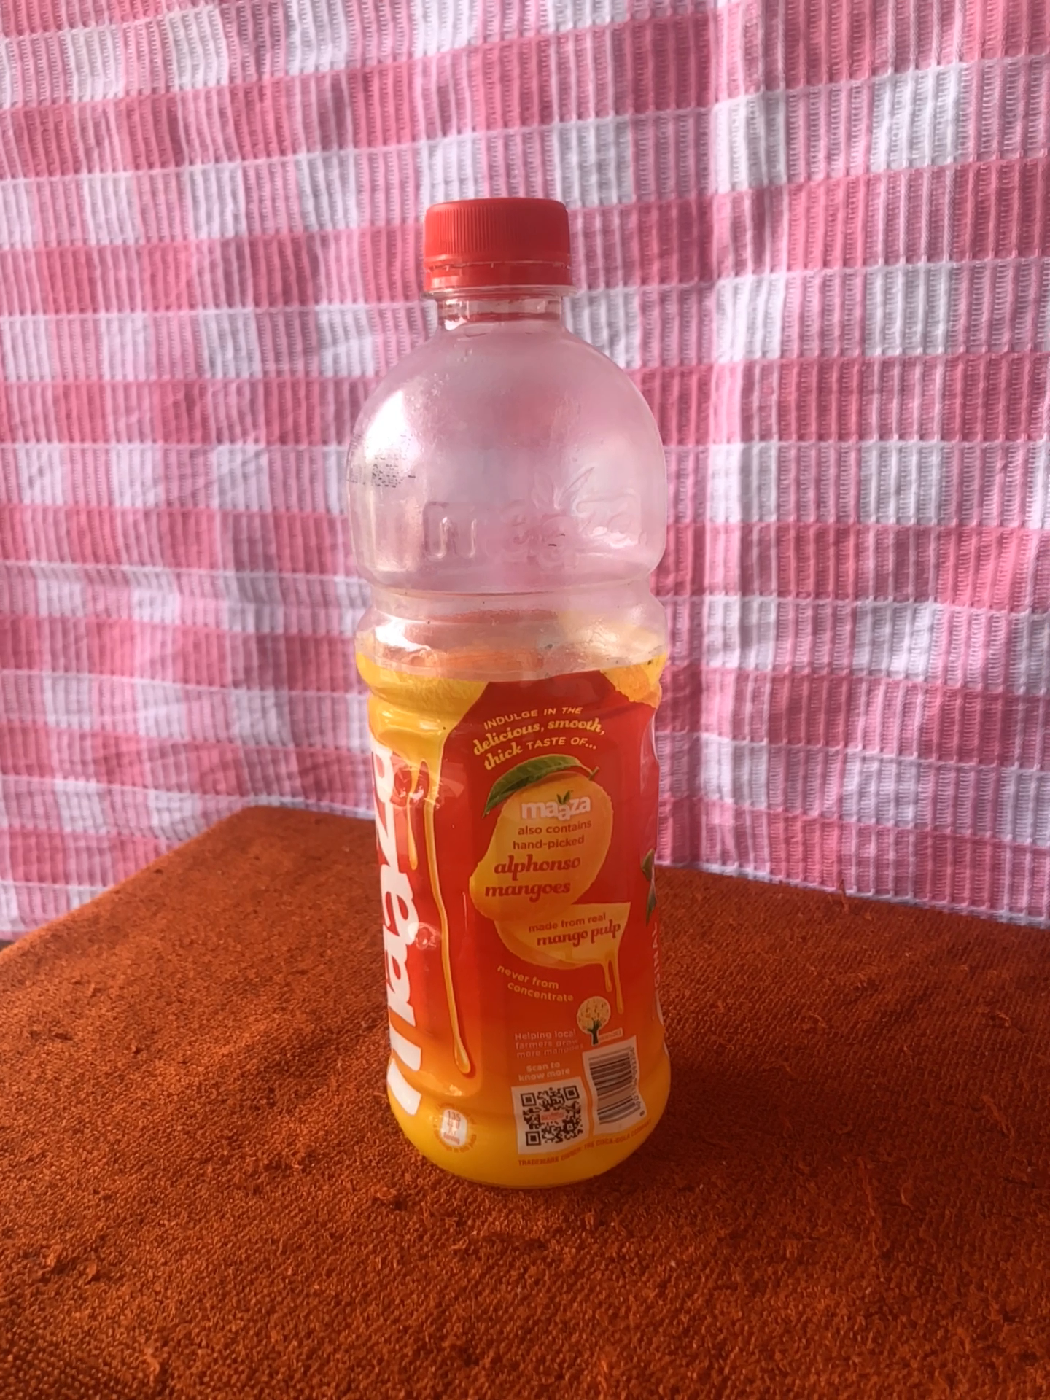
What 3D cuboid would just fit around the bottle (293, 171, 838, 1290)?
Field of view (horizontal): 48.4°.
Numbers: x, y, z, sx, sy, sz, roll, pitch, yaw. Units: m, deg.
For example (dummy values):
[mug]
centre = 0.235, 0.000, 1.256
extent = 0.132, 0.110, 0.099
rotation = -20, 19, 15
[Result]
[bottle]
centre = 0.007, 0.004, 0.256
extent = 0.070, 0.209, 0.080
rotation = -13, 22, -32
